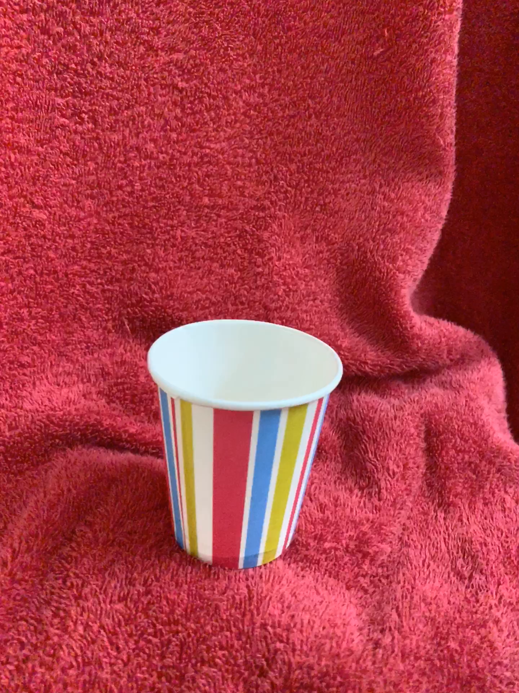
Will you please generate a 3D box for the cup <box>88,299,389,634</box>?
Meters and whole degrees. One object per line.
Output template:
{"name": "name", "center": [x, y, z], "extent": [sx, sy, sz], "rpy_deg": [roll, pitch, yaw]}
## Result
{"name": "cup", "center": [-0.009, 0.033, 0.192], "extent": [0.070, 0.070, 0.070], "rpy_deg": [3, 23, -2]}
